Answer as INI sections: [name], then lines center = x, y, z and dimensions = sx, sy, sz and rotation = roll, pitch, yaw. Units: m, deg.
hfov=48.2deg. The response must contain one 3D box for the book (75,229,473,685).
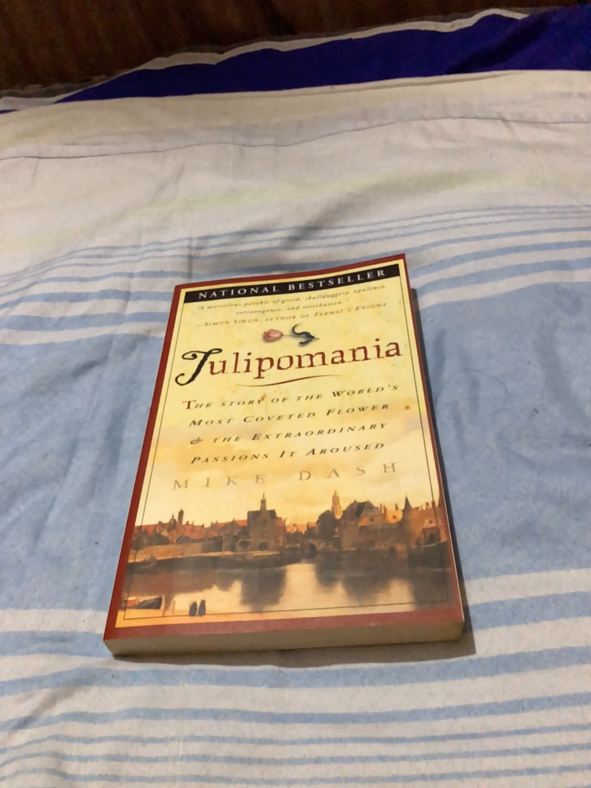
[book]
center = -0.005, 0.013, 0.326
dimensions = 0.140, 0.050, 0.231
rotation = -5, 47, 6
